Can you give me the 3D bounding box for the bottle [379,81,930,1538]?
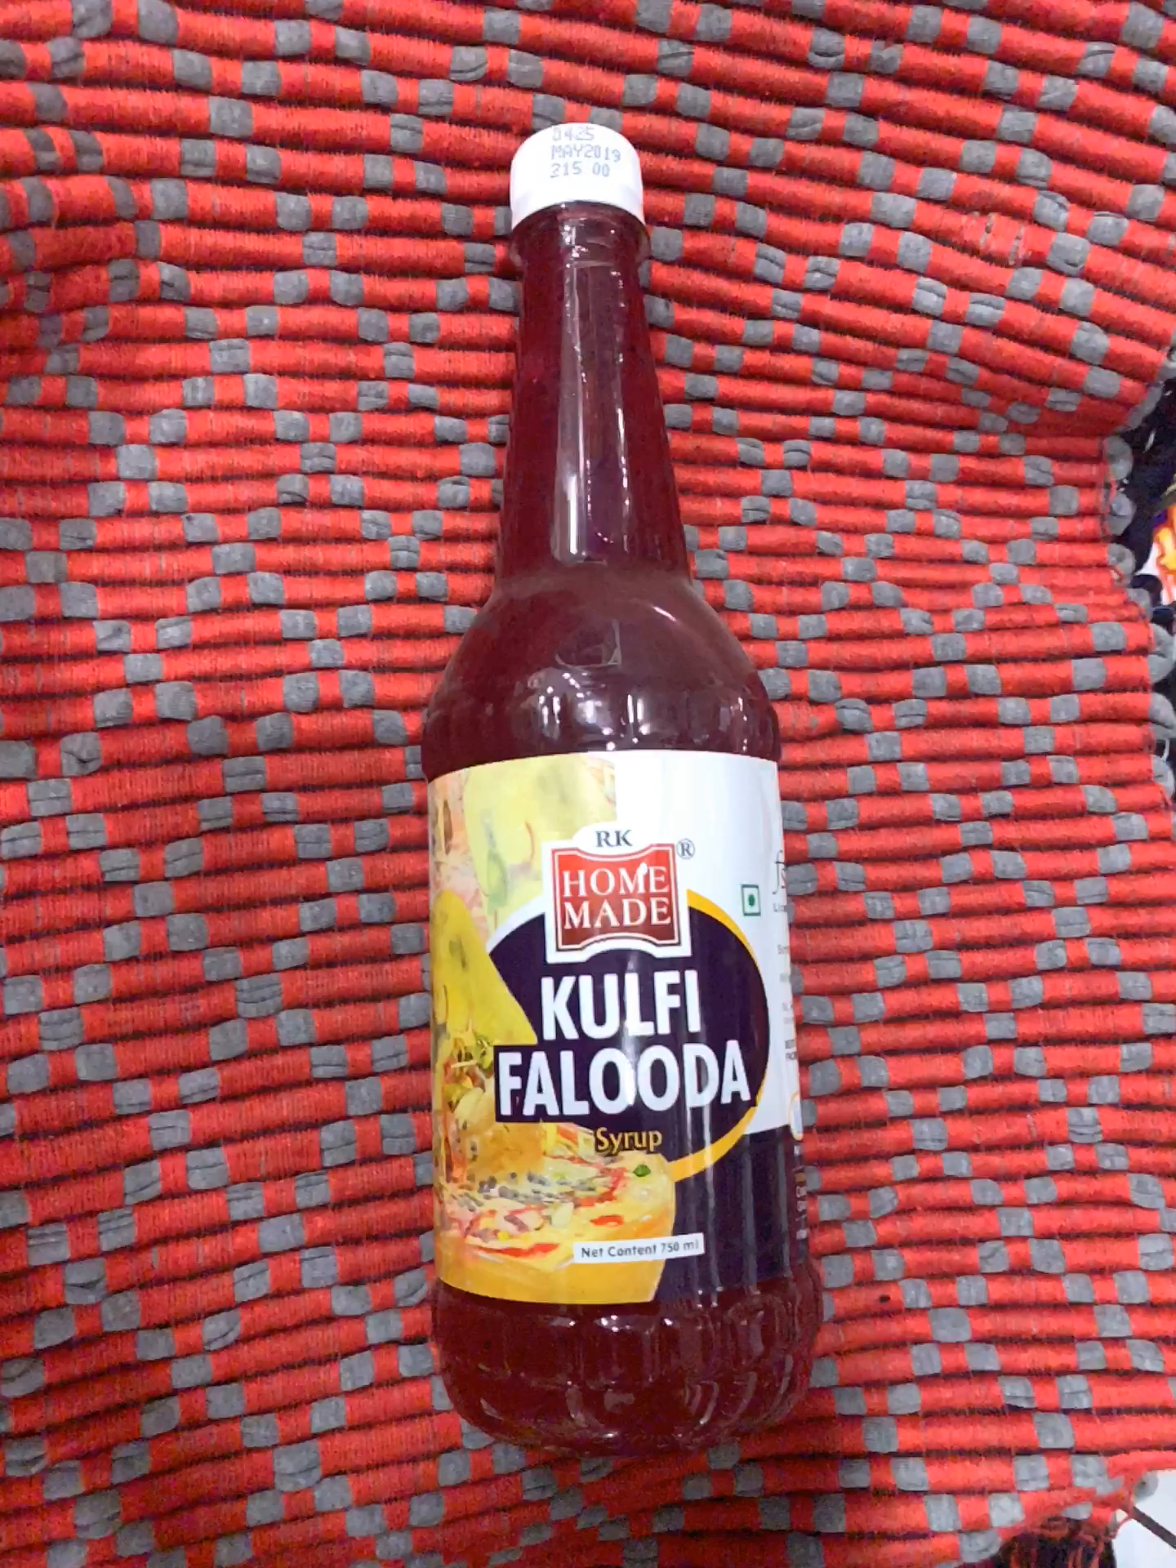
[{"bbox_3d":[0.000,-0.006,0.242,0.070,0.070,0.250,0,74,-15],"label":"bottle"}]
